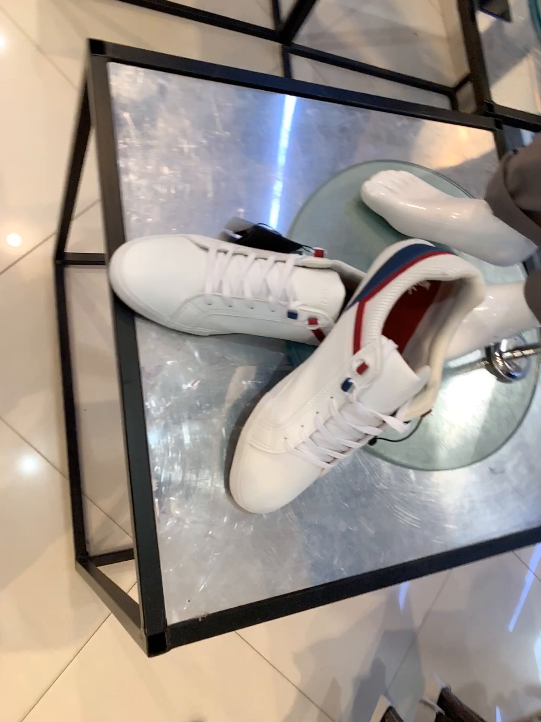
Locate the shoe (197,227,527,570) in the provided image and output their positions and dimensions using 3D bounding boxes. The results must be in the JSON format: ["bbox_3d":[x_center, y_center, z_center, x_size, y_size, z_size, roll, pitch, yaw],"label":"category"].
[{"bbox_3d":[0.076,0.022,0.484,0.100,0.100,0.280,45,82,-18],"label":"shoe"}]

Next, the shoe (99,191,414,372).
[{"bbox_3d":[-0.011,-0.063,0.537,0.280,0.100,0.100,10,82,-21],"label":"shoe"}]
